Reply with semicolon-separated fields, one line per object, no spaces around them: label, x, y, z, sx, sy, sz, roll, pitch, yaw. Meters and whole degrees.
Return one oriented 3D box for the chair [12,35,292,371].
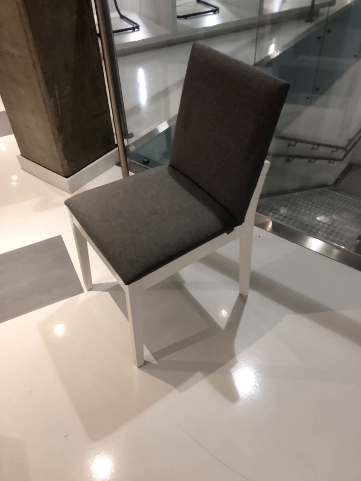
chair;-0.073;-0.110;1.313;0.561;0.844;0.483;-25;47;-22
